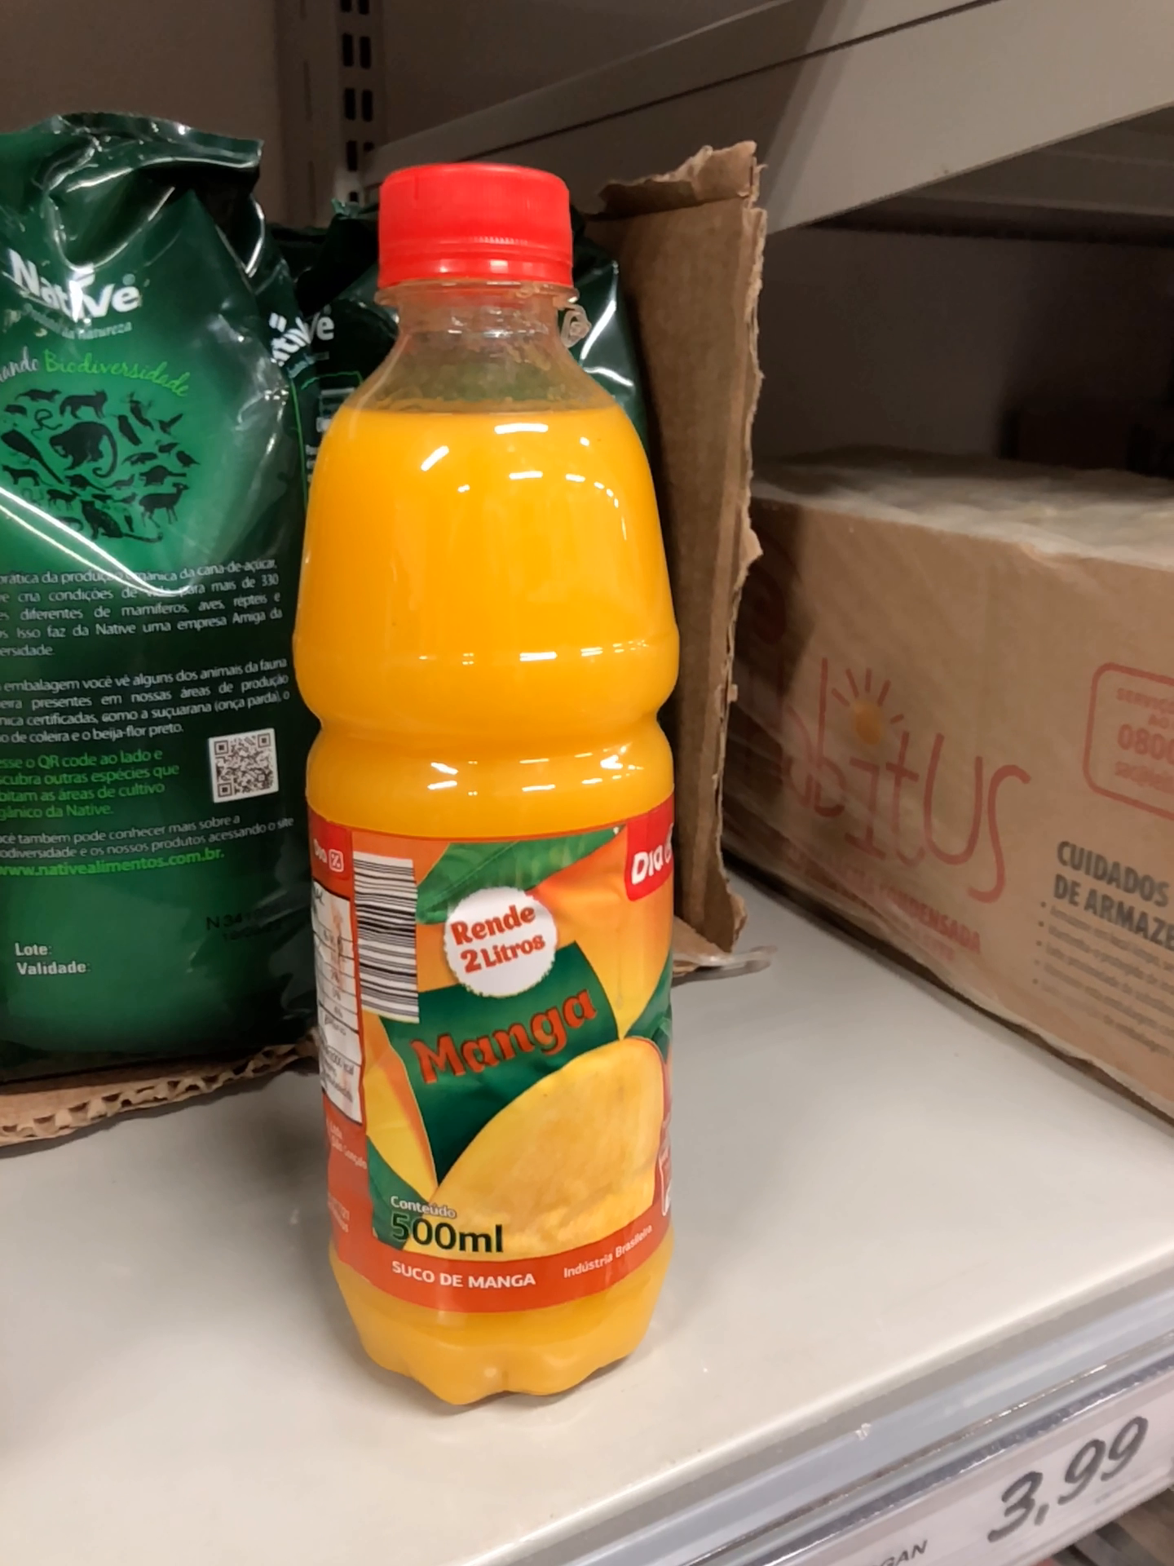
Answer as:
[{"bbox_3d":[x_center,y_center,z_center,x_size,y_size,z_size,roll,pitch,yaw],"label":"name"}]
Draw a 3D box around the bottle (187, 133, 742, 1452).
[{"bbox_3d":[-0.016,0.005,0.222,0.070,0.199,0.060,-2,16,-5],"label":"bottle"}]
